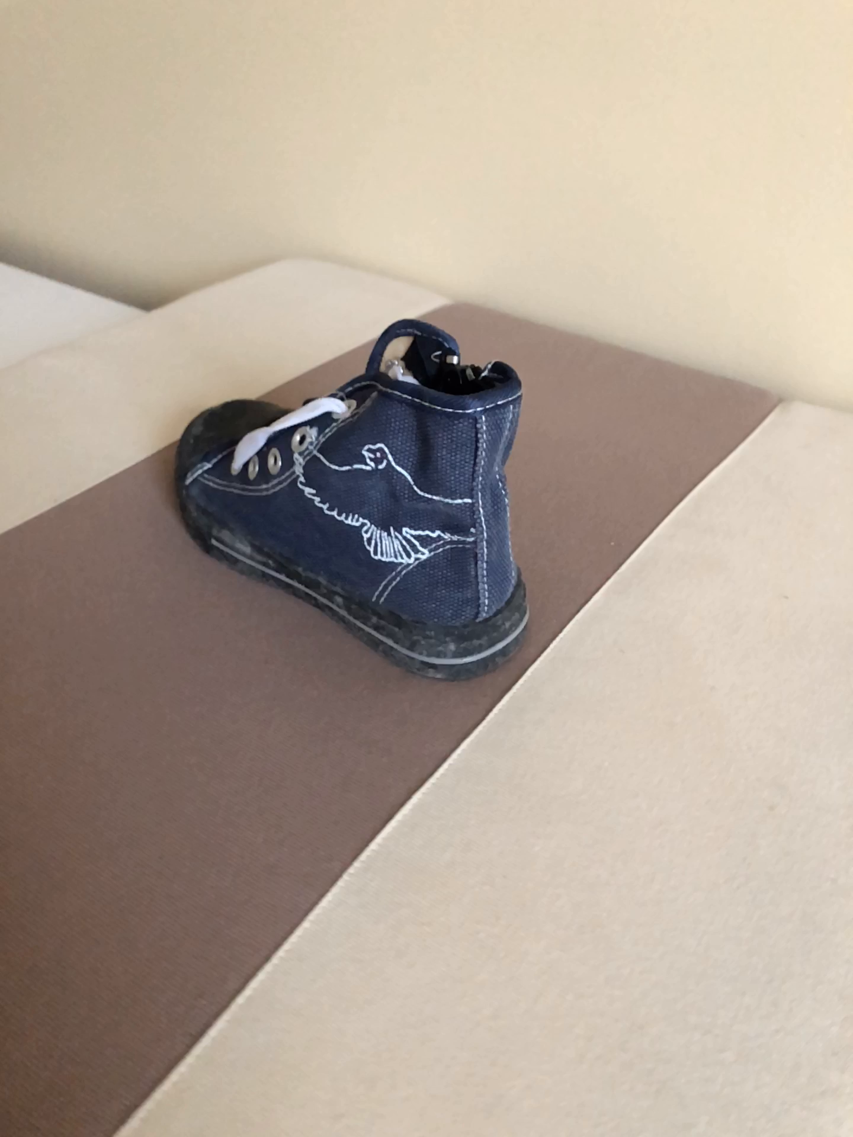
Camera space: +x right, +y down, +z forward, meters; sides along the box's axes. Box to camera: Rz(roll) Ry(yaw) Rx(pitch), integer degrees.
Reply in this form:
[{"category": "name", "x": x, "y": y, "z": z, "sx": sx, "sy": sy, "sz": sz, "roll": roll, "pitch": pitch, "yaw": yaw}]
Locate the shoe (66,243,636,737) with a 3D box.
[{"category": "shoe", "x": -0.036, "y": -0.044, "z": 0.368, "sx": 0.200, "sy": 0.099, "sz": 0.090, "roll": 29, "pitch": 44, "yaw": 32}]
